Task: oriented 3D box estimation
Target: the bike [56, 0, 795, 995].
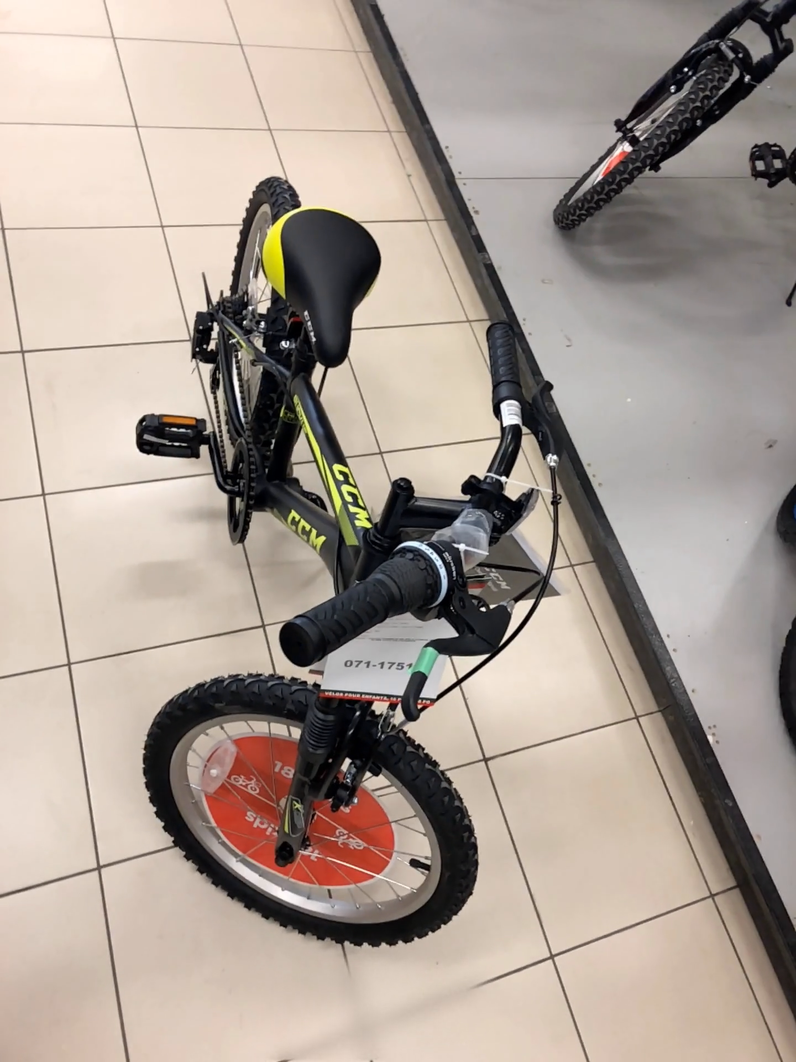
[{"bbox_3d":[-0.061,-0.126,1.151,0.550,0.862,1.196,-7,63,-21],"label":"bike"}]
